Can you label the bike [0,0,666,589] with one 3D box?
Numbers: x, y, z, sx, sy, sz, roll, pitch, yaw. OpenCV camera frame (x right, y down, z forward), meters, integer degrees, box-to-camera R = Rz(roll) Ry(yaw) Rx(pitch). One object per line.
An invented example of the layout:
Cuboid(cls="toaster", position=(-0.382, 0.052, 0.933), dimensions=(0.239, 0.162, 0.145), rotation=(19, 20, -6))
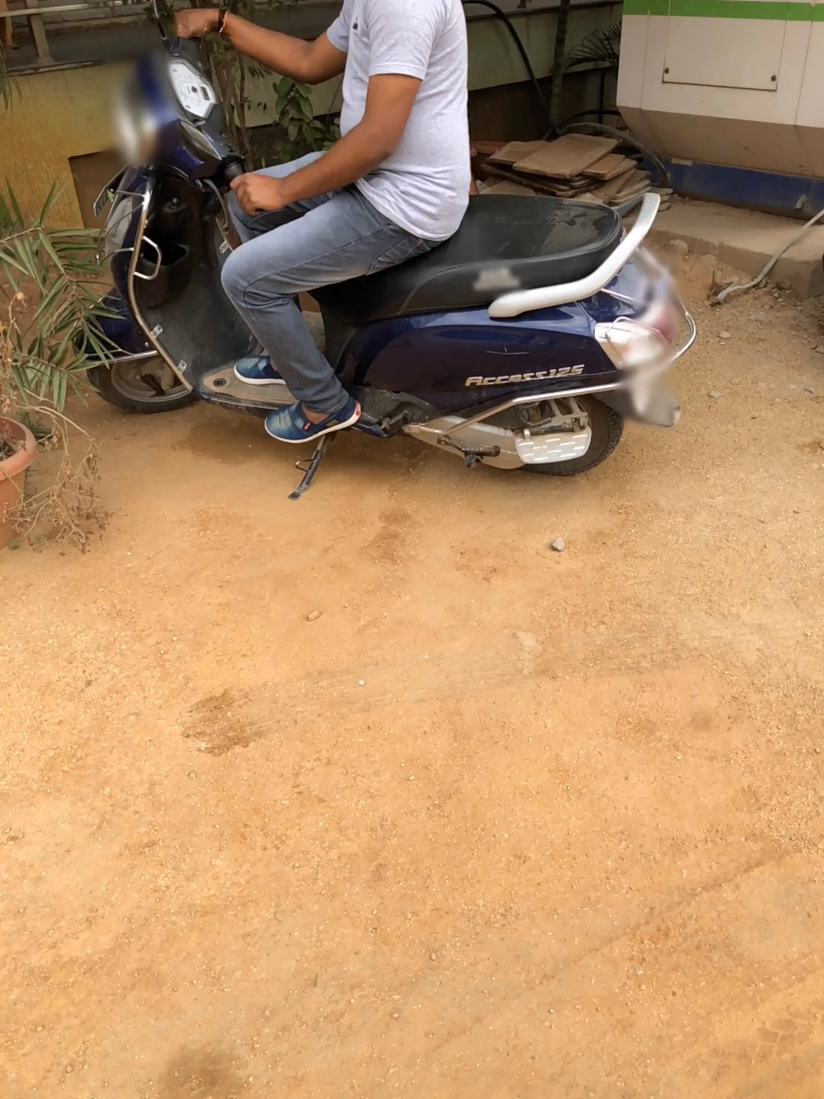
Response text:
Cuboid(cls="bike", position=(-0.251, -0.693, 2.347), dimensions=(1.620, 1.222, 0.591), rotation=(7, 35, 13))
